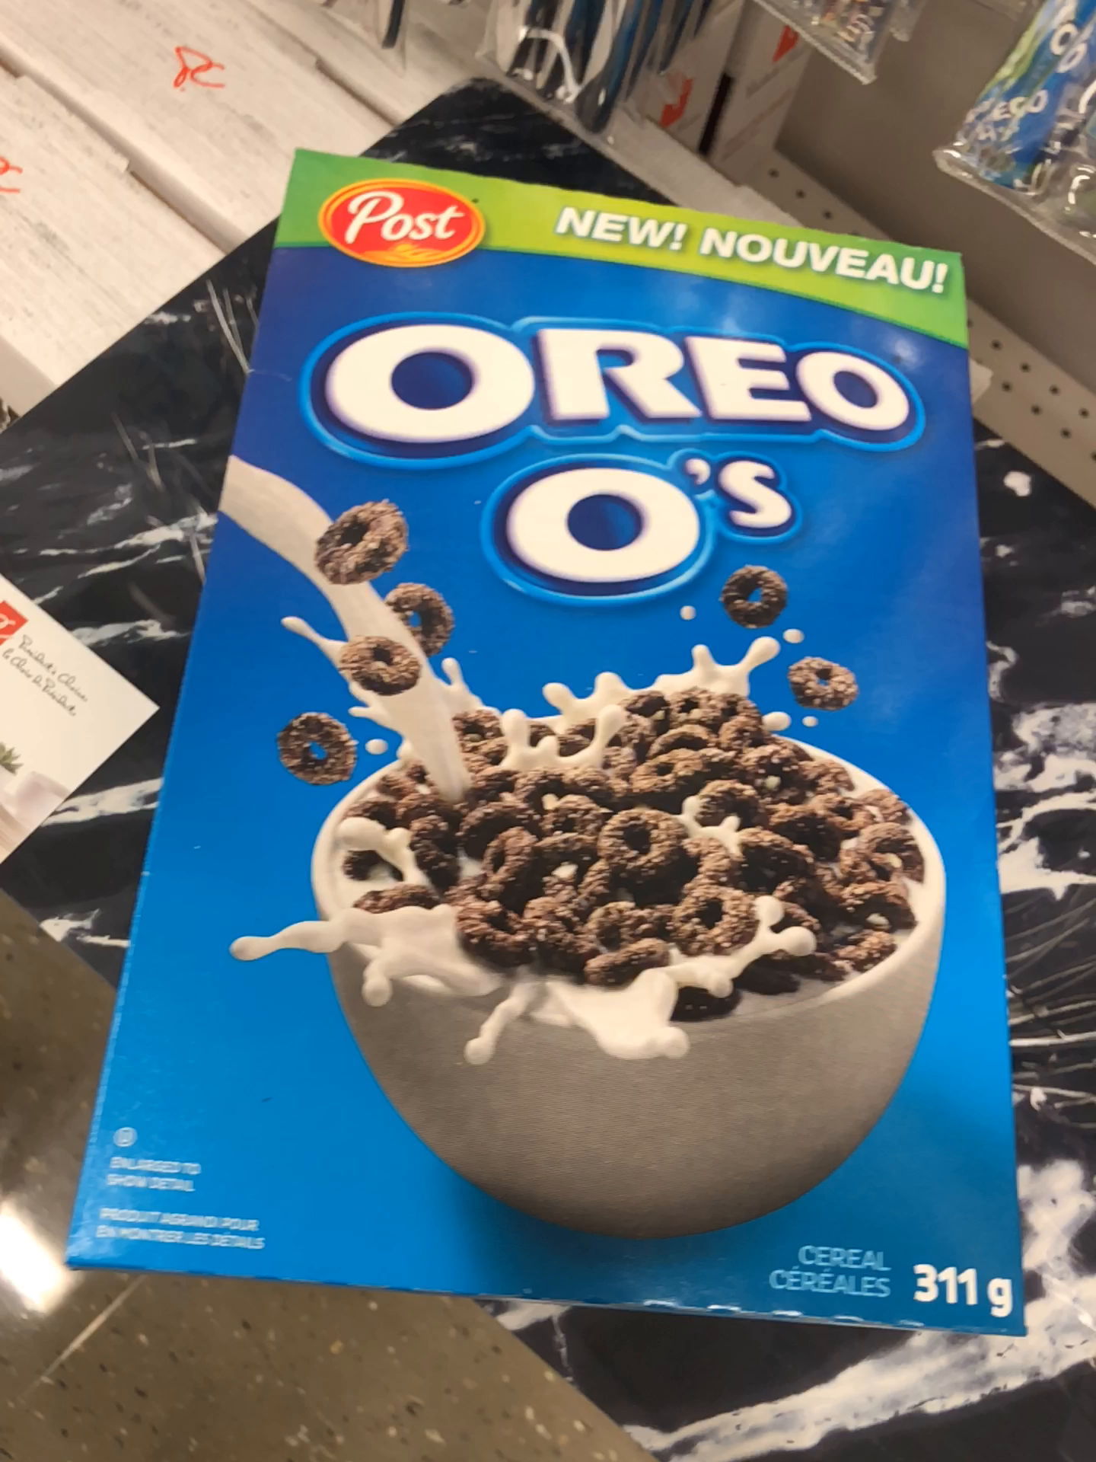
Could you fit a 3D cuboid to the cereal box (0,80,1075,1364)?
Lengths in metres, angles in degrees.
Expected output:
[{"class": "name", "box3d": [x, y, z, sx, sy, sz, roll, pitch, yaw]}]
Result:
[{"class": "cereal box", "box3d": [0.005, -0.014, 0.319, 0.210, 0.070, 0.300, 7, 66, -6]}]
